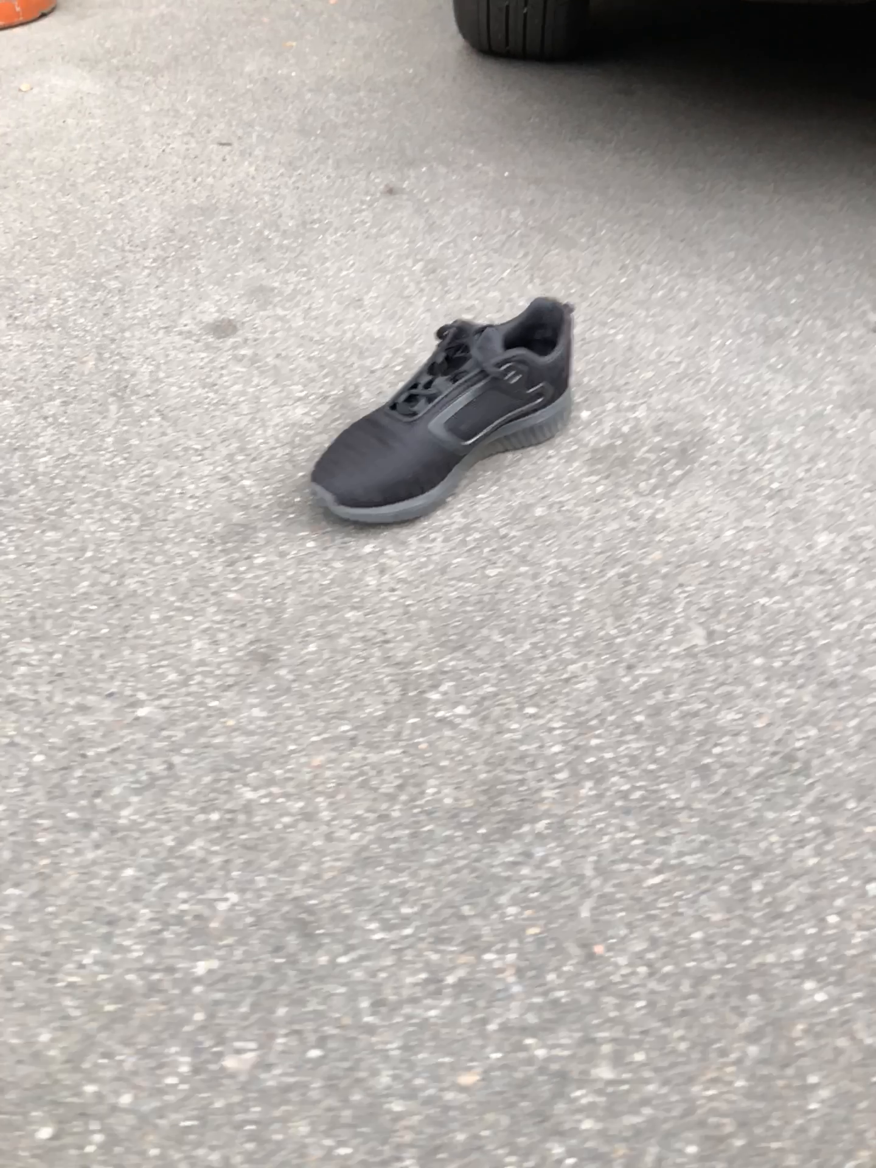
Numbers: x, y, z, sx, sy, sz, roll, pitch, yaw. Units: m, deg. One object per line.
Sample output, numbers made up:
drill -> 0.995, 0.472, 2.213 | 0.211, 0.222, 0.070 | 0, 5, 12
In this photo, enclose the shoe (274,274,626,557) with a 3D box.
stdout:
shoe -> 0.015, -0.146, 0.779 | 0.281, 0.109, 0.100 | -30, 53, -32
